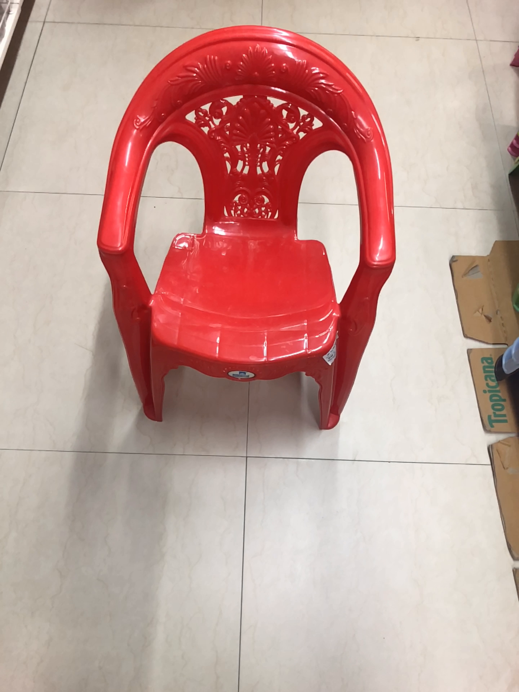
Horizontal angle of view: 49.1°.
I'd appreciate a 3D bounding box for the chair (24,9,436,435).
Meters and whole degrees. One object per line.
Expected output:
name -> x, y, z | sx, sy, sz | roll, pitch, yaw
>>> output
chair -> -0.026, -0.131, 0.848 | 0.390, 0.508, 0.371 | 3, 64, 0
